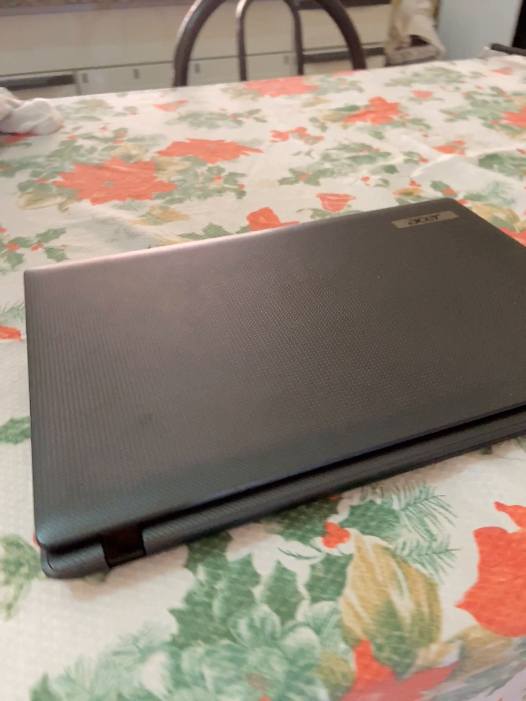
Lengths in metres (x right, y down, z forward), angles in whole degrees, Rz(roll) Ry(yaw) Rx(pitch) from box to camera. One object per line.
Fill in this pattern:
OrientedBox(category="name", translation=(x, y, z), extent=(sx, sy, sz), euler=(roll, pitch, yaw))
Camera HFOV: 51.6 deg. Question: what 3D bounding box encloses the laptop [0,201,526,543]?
OrientedBox(category="laptop", translation=(0.014, -0.026, 0.347), extent=(0.351, 0.001, 0.224), euler=(-12, 42, -16))
